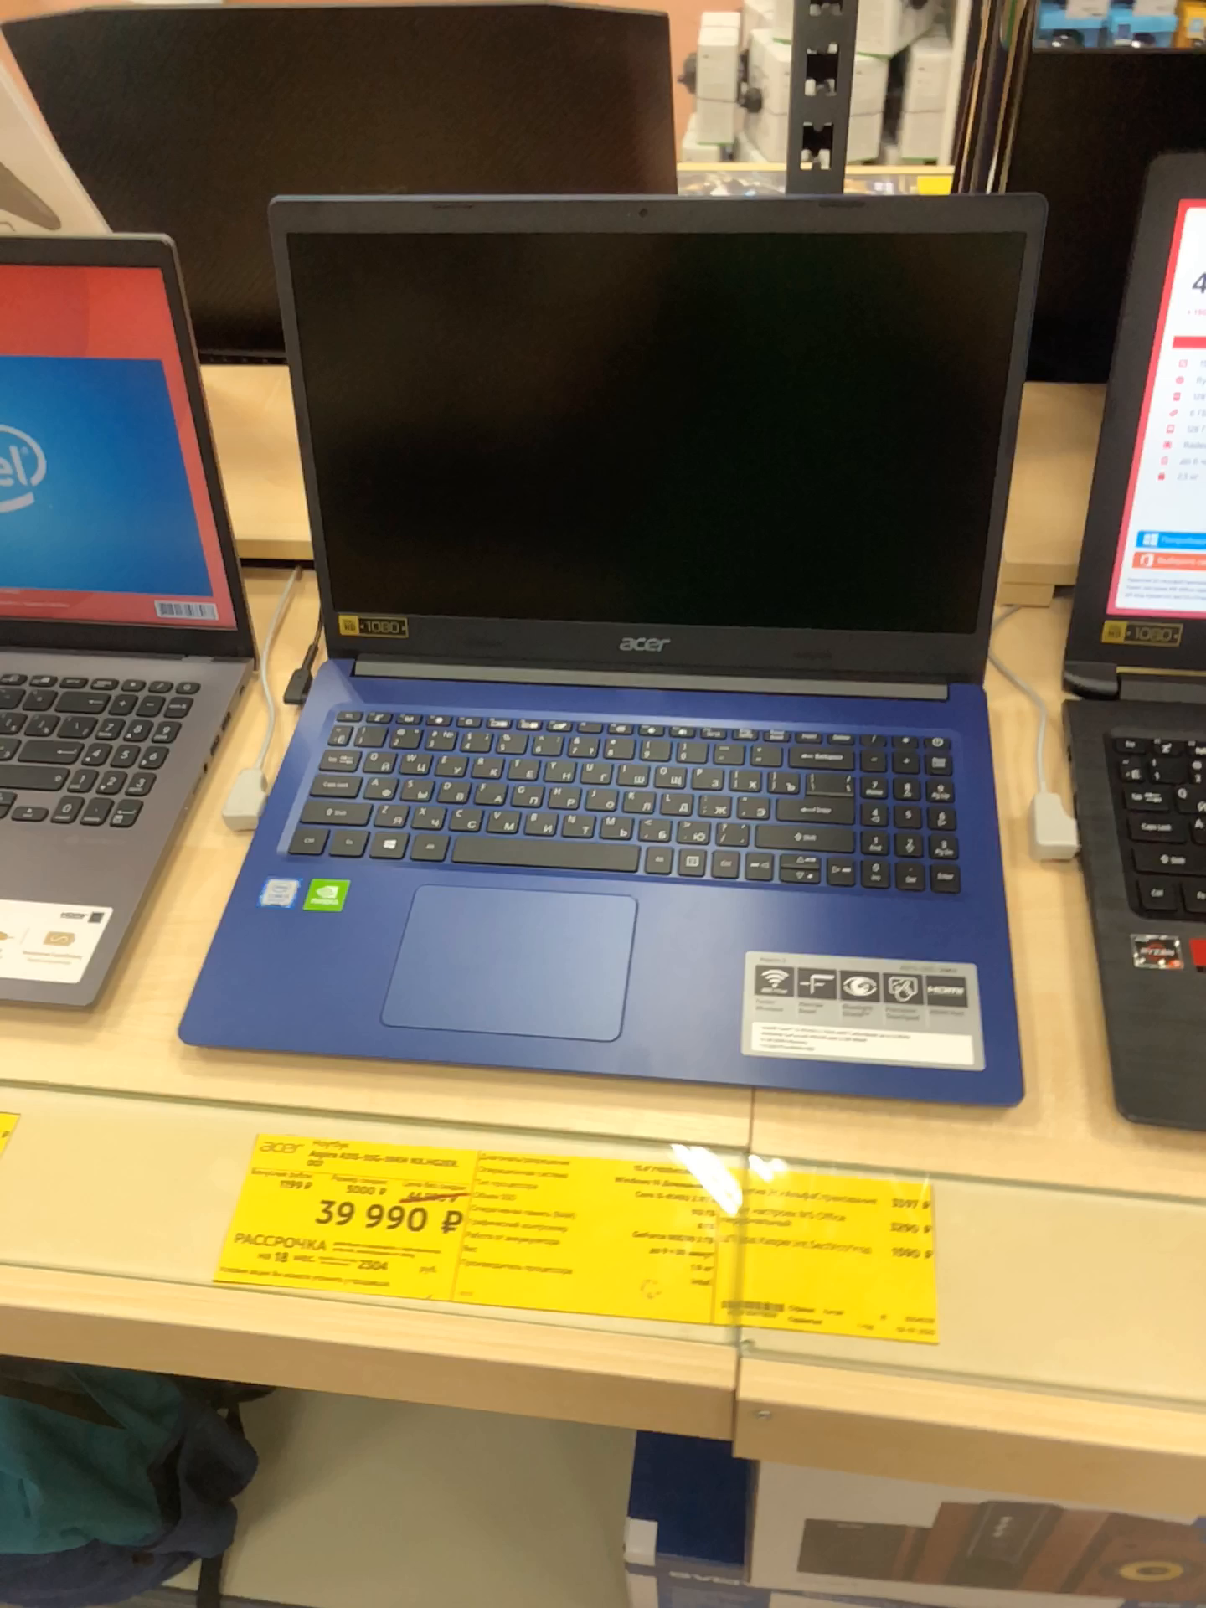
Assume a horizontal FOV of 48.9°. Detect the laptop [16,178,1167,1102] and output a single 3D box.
[{"bbox_3d":[0.011,-0.089,0.592,0.357,0.221,0.328,3,48,8],"label":"laptop"}]
